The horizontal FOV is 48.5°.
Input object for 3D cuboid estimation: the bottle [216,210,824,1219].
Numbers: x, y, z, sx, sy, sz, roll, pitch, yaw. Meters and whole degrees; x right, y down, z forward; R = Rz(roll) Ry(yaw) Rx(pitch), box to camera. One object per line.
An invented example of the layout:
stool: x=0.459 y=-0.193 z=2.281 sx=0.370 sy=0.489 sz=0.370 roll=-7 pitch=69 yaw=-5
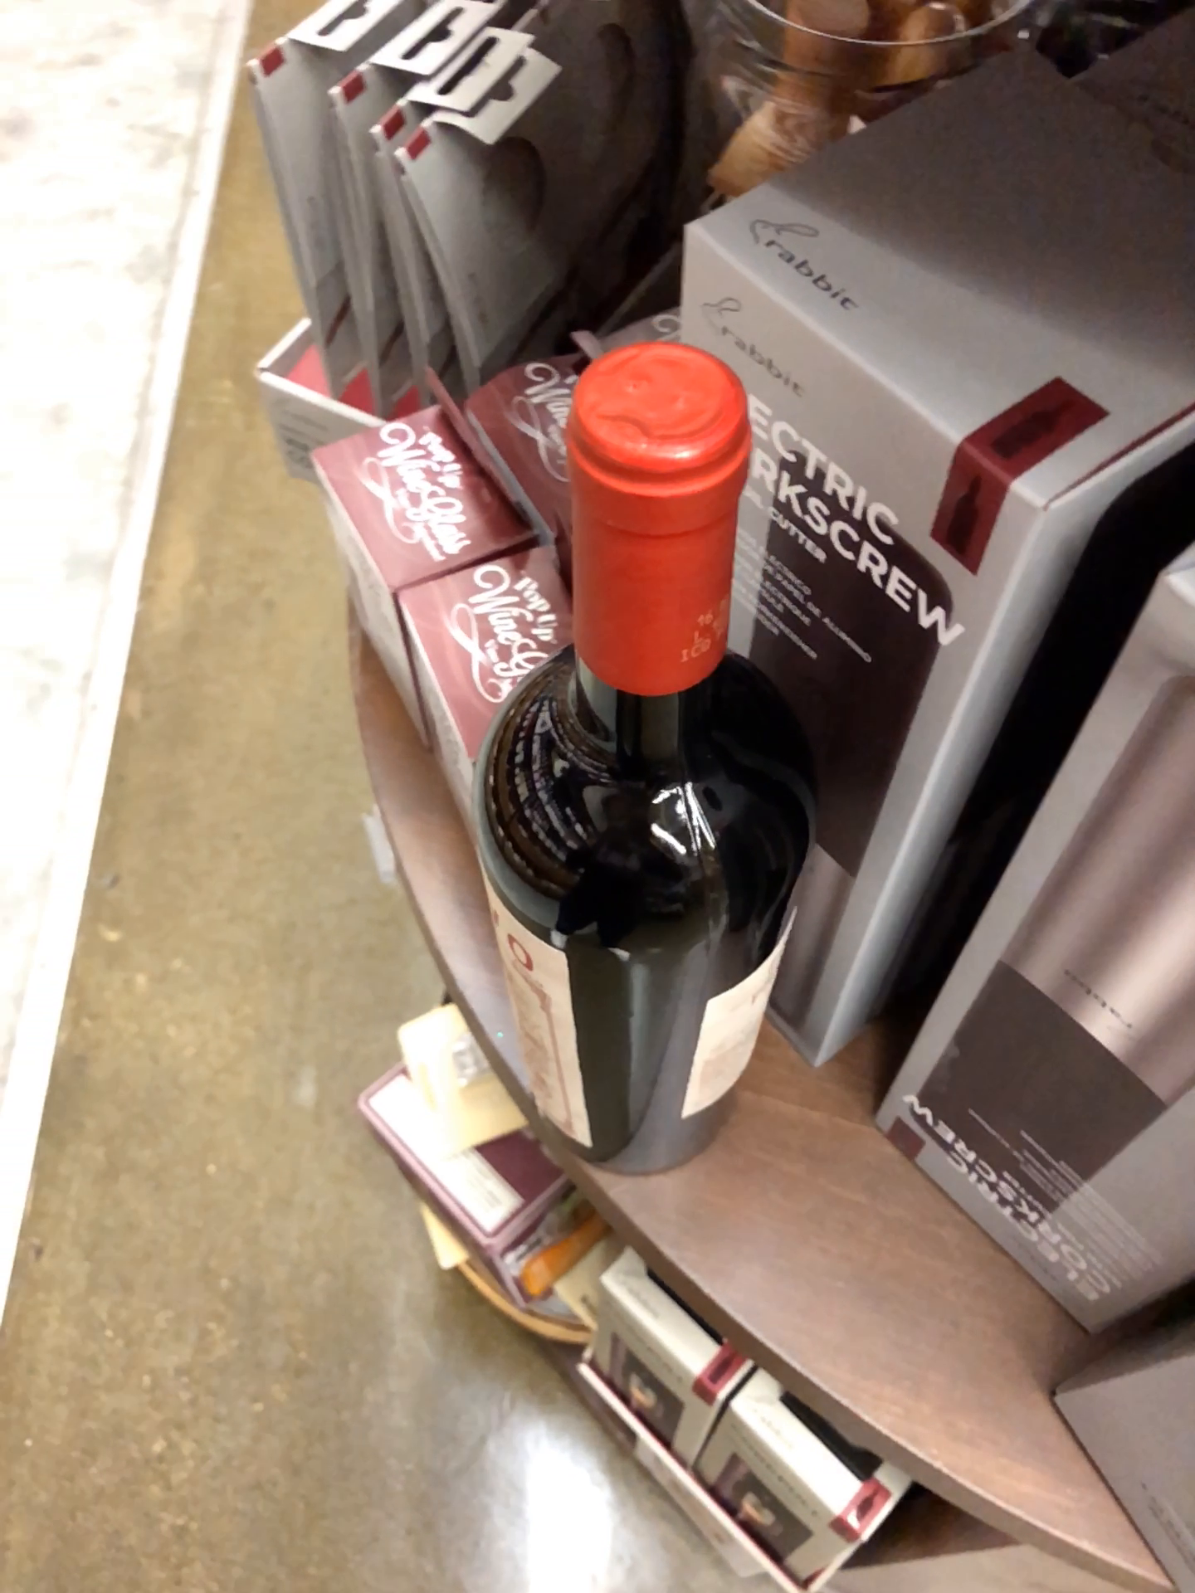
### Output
bottle: x=-0.004 y=0.019 z=0.325 sx=0.071 sy=0.300 sz=0.072 roll=-1 pitch=58 yaw=1
